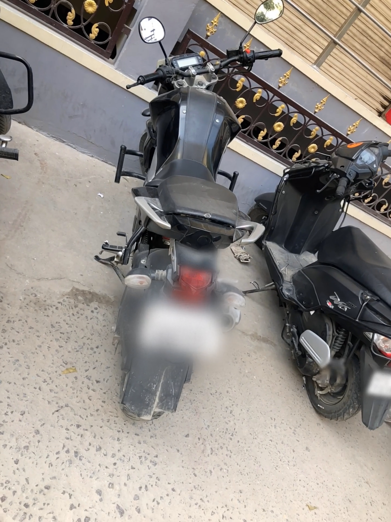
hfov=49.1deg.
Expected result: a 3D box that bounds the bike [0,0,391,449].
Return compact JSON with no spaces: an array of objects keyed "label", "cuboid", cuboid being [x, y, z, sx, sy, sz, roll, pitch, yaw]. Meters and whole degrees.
[{"label":"bike","cuboid":[-0.204,-0.462,1.787,0.693,1.197,1.765,23,33,-25]}]
